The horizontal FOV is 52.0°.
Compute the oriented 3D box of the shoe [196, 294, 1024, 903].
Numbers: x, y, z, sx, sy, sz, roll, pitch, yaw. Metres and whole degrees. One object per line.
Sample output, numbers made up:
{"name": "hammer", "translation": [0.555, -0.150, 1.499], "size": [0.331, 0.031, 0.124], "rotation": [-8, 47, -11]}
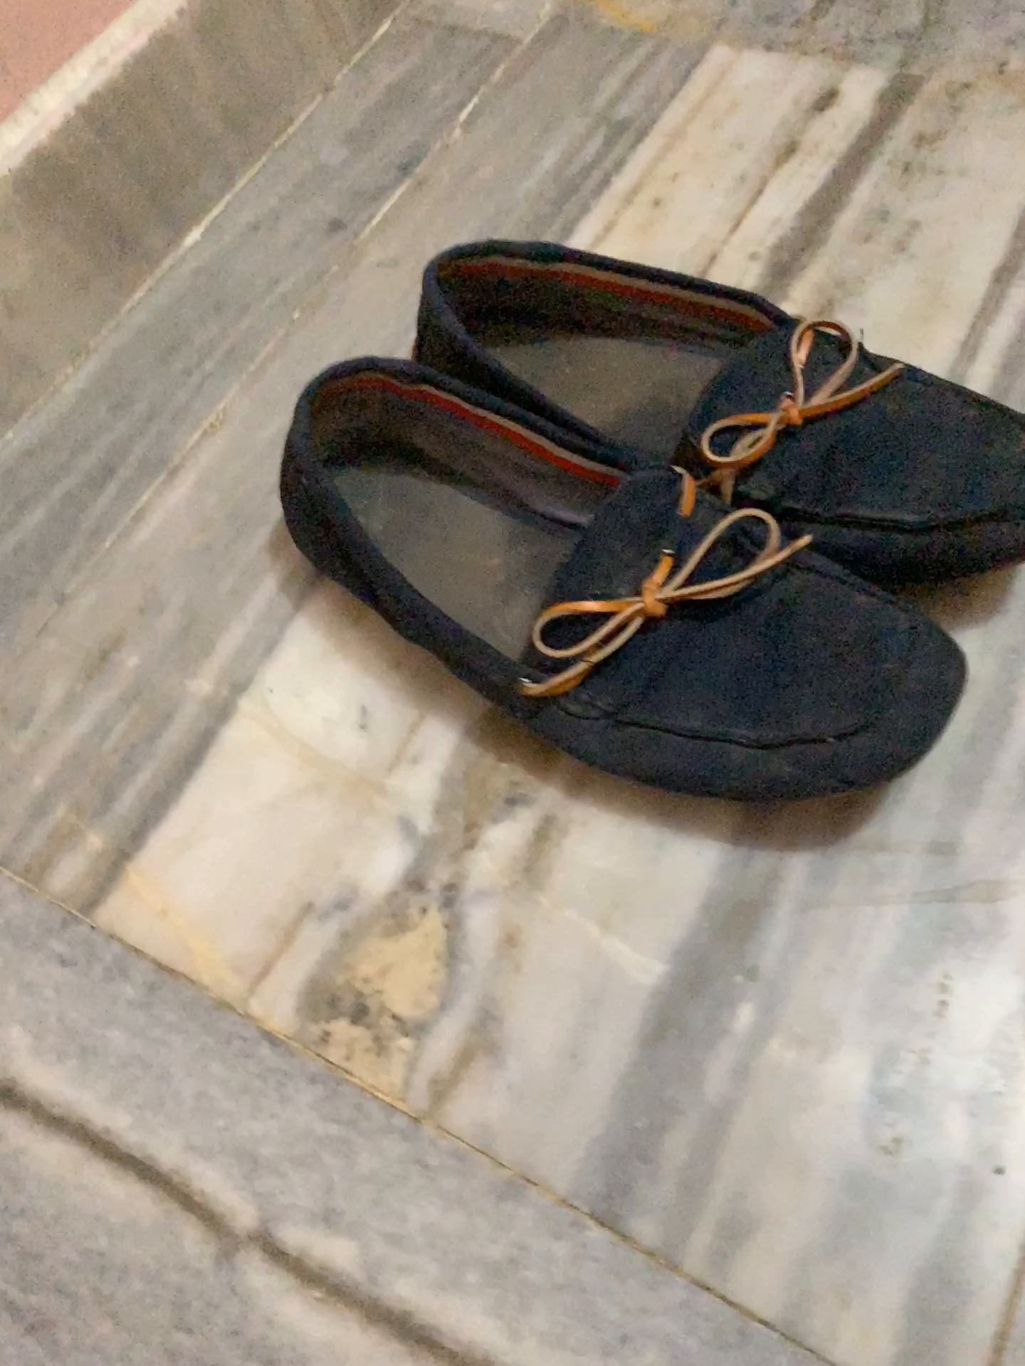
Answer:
{"name": "shoe", "translation": [0.032, -0.045, 0.402], "size": [0.280, 0.070, 0.120], "rotation": [26, 67, 22]}

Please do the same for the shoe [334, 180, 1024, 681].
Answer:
{"name": "shoe", "translation": [0.087, -0.120, 0.451], "size": [0.301, 0.070, 0.120], "rotation": [23, 65, 21]}
